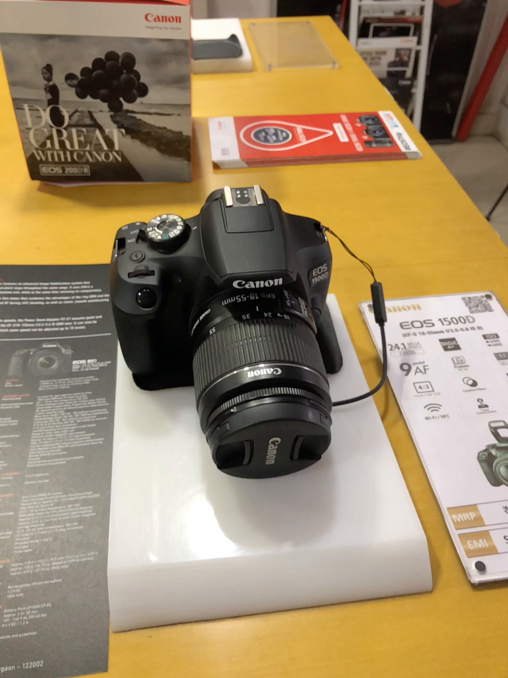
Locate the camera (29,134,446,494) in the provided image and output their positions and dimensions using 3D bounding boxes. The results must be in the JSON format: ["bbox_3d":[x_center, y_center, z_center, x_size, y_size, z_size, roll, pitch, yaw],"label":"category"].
[{"bbox_3d":[-0.013,-0.021,0.270,0.140,0.089,0.141,-5,44,-6],"label":"camera"}]
